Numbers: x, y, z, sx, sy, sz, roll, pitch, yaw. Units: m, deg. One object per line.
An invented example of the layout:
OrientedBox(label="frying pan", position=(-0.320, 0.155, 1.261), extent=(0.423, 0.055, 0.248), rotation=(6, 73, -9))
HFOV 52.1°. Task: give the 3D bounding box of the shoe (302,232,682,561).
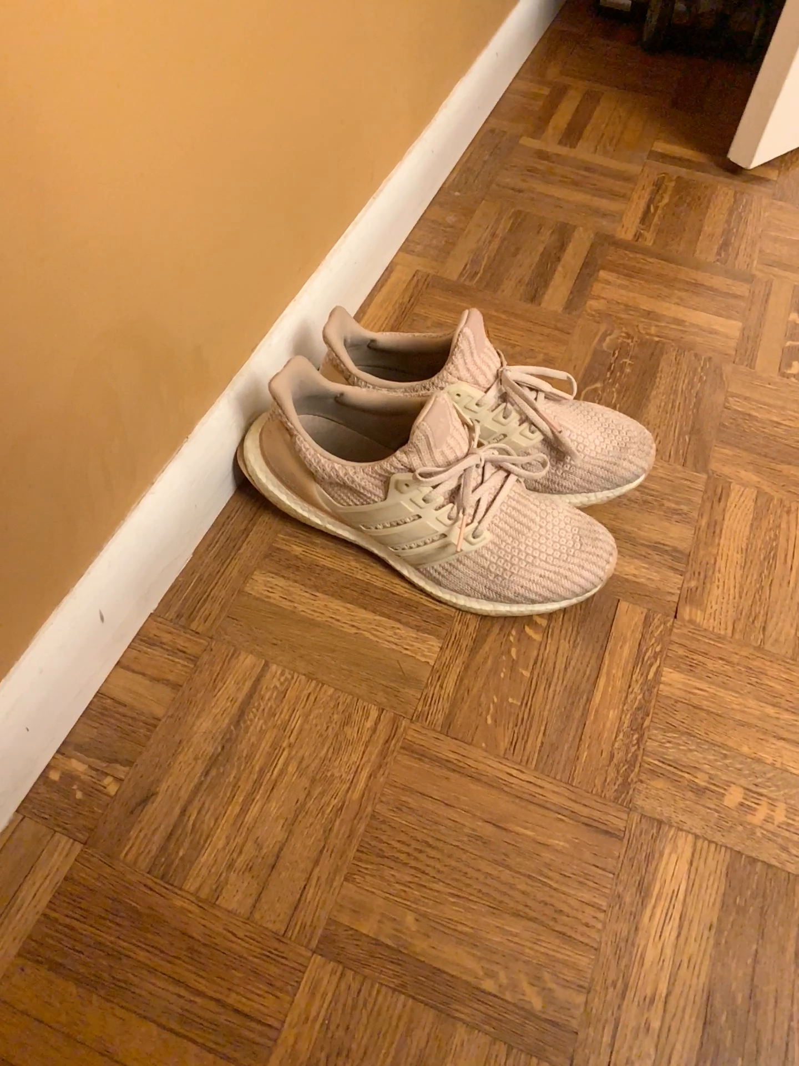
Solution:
OrientedBox(label="shoe", position=(0.071, -0.107, 0.662), extent=(0.260, 0.120, 0.110), rotation=(27, 56, -1))

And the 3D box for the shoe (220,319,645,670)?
OrientedBox(label="shoe", position=(0.017, -0.024, 0.617), extent=(0.280, 0.130, 0.100), rotation=(26, 56, 2))
